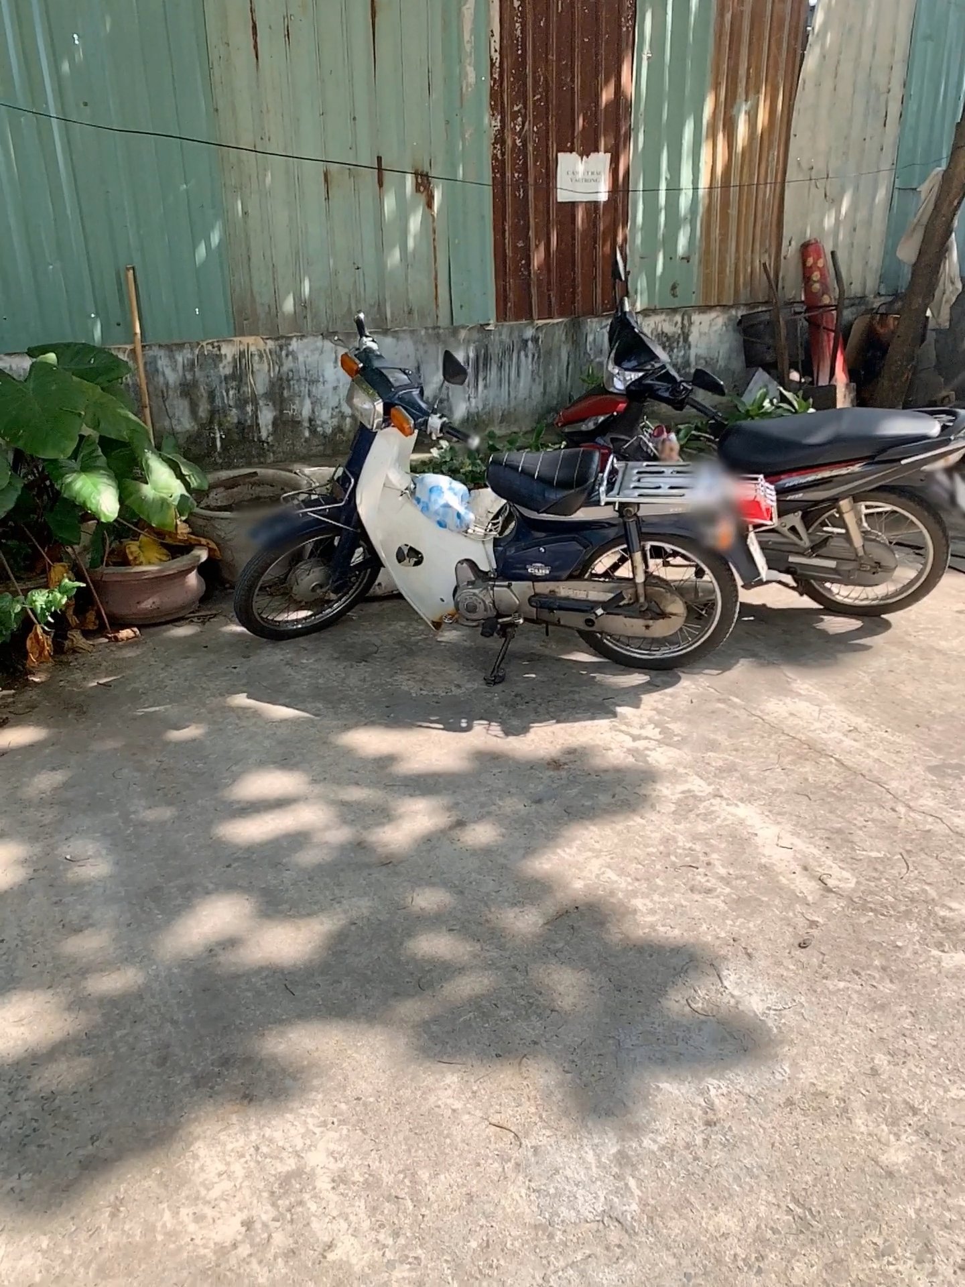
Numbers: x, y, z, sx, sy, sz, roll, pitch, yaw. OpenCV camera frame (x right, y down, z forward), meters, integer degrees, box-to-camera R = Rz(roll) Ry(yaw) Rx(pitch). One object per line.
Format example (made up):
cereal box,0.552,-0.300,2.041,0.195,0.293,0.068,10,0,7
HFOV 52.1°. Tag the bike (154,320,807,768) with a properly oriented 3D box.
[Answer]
bike,-0.006,-0.283,2.722,1.474,1.024,0.656,-1,23,4
